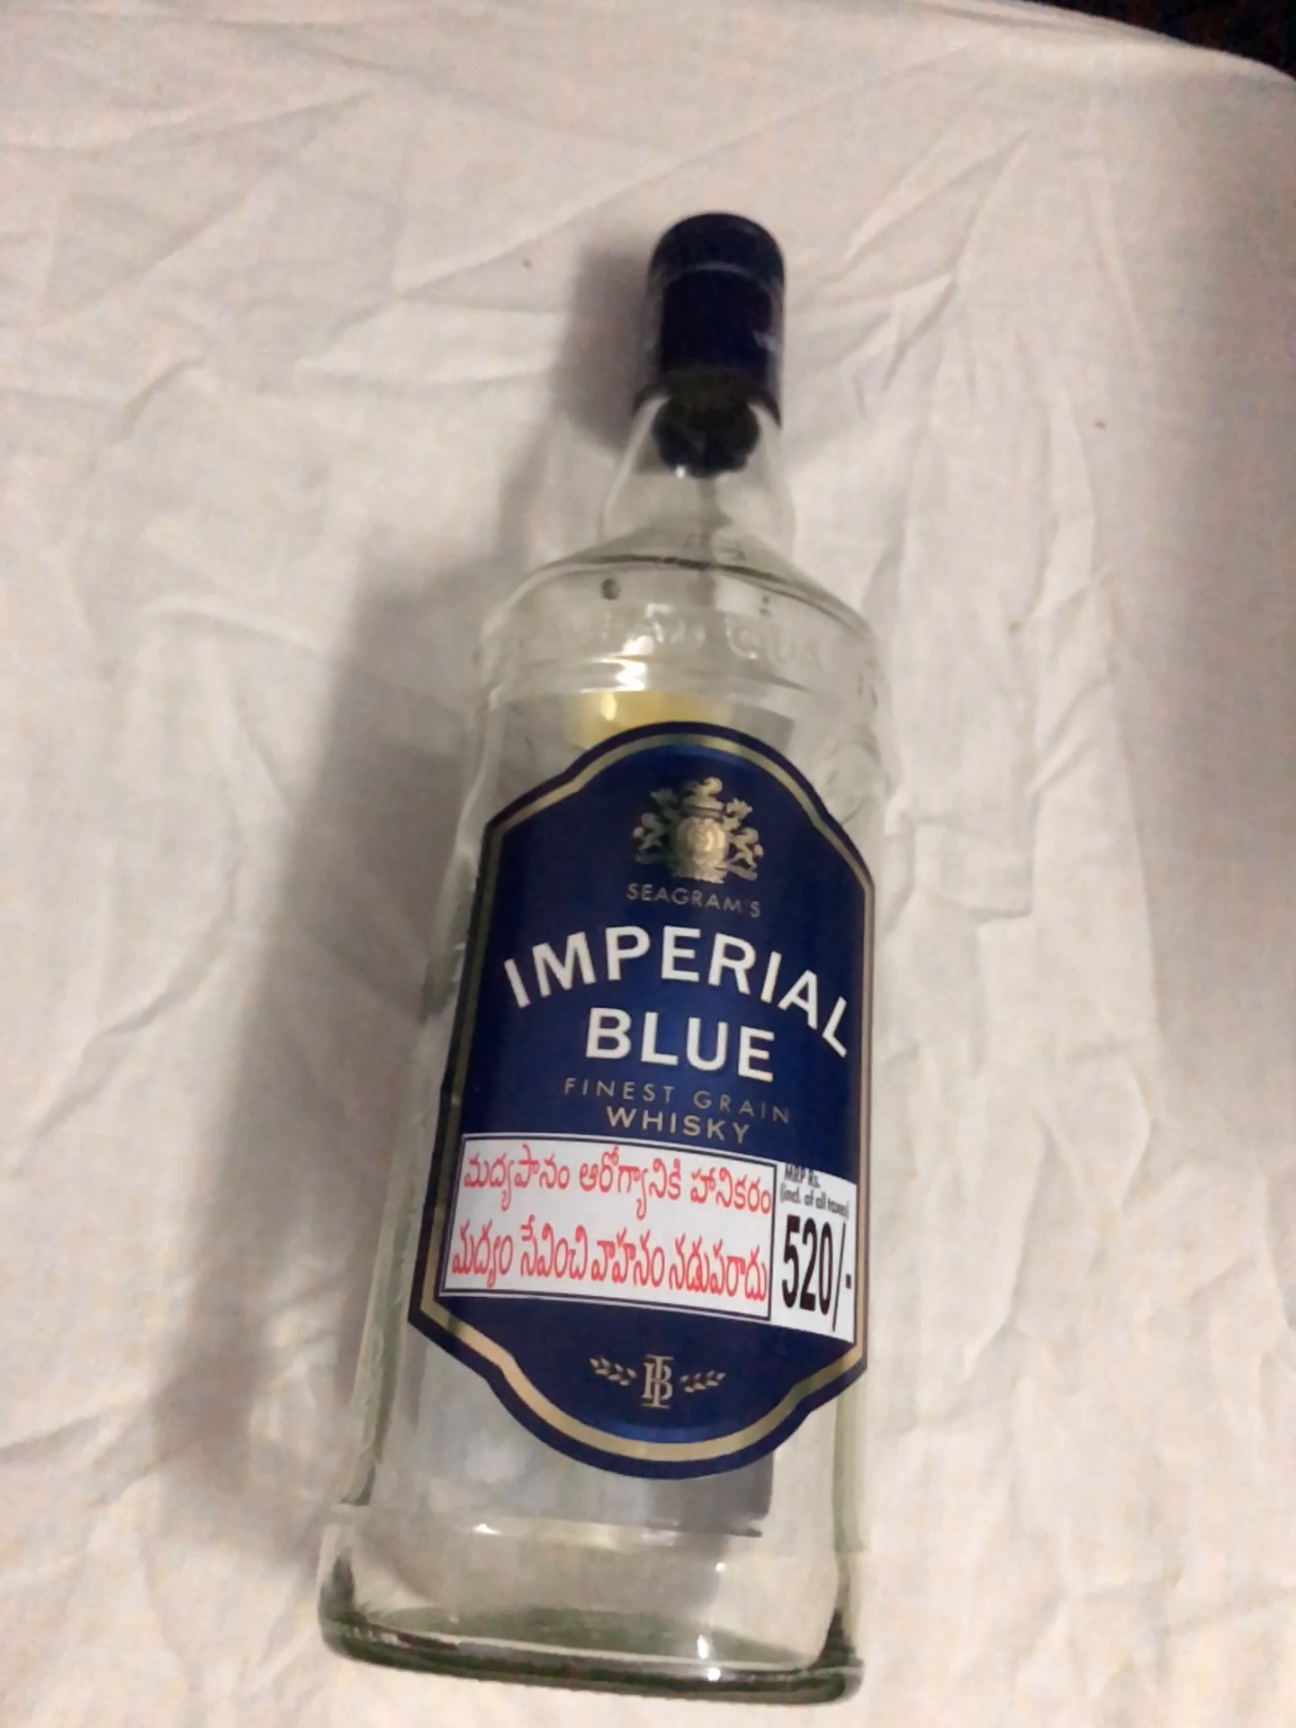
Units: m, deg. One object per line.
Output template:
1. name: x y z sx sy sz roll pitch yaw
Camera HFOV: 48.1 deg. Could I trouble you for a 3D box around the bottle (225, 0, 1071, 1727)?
1. bottle: 0.008 -0.004 0.240 0.090 0.080 0.270 8 72 -5
